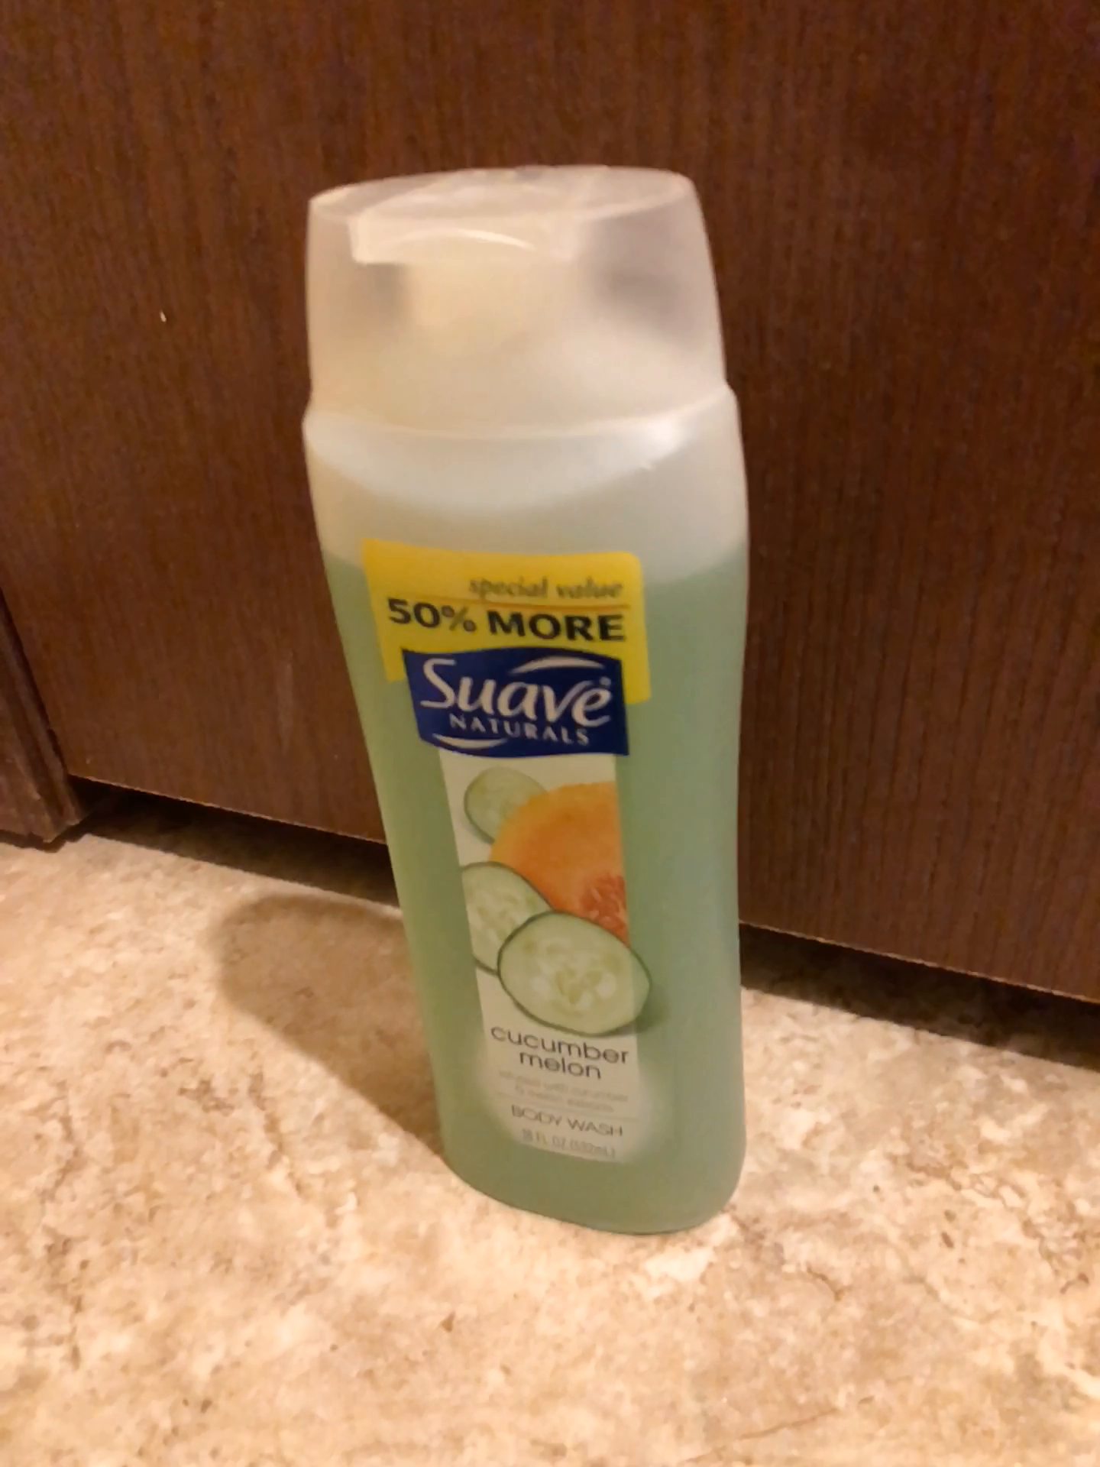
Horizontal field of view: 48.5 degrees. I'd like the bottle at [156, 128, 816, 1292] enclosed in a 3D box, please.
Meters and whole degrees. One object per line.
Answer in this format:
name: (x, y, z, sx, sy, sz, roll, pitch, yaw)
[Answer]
bottle: (0.003, 0.013, 0.253, 0.090, 0.239, 0.050, 6, 35, 17)
